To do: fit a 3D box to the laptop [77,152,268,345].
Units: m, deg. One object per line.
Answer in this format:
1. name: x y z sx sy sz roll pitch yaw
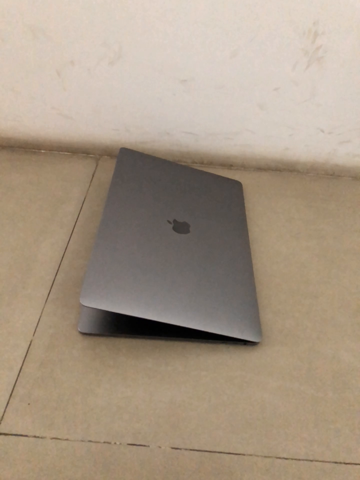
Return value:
1. laptop: -0.001 -0.012 0.615 0.232 0.057 0.337 5 45 0
